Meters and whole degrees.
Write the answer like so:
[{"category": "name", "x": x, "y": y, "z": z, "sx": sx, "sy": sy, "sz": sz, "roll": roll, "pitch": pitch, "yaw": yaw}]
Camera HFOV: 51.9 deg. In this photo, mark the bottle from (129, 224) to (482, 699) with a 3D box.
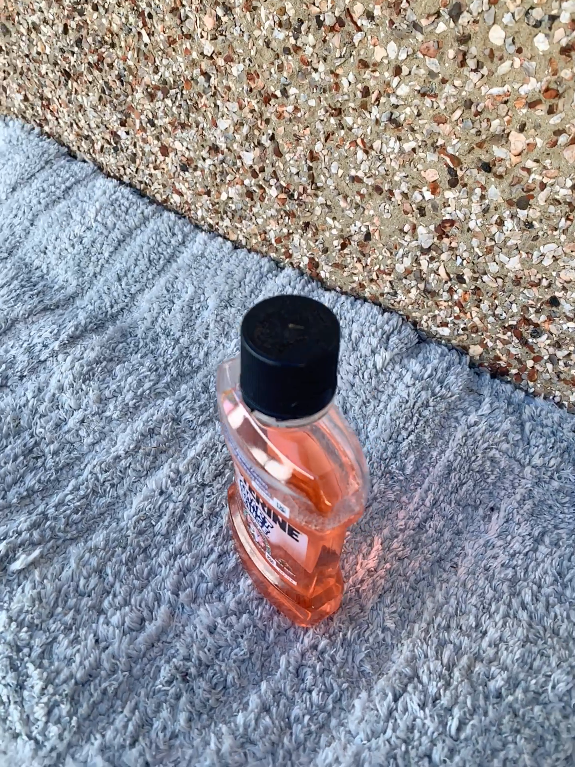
[{"category": "bottle", "x": 0.003, "y": 0.040, "z": 0.215, "sx": 0.050, "sy": 0.159, "sz": 0.091, "roll": -28, "pitch": 54, "yaw": -19}]
